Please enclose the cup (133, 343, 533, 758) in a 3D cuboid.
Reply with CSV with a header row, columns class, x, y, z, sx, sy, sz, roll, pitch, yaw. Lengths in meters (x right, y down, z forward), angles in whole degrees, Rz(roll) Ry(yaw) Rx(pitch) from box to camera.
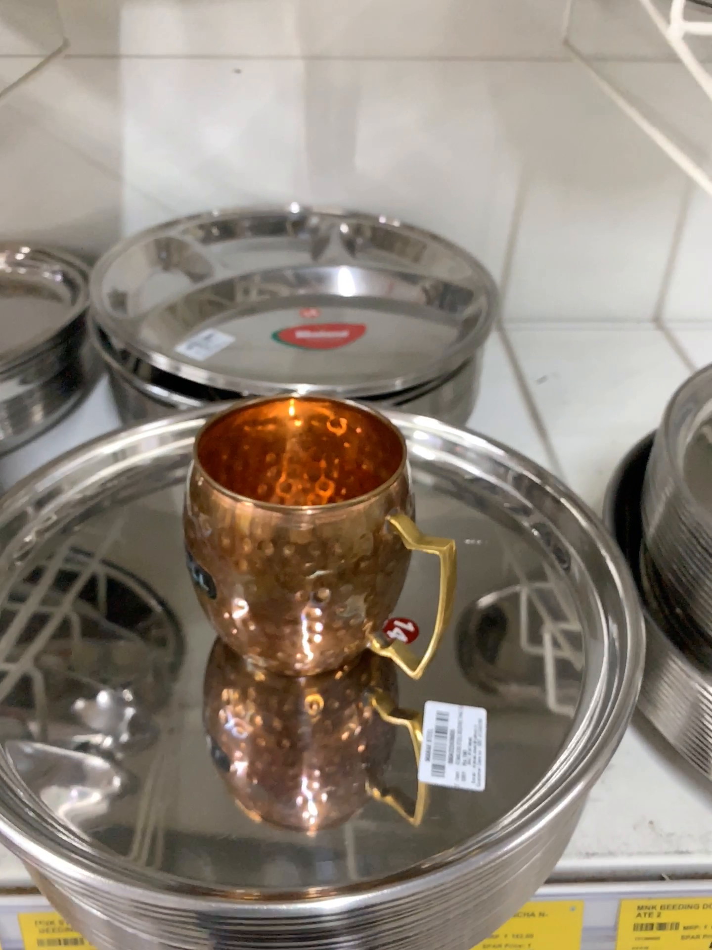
class,x,y,z,sx,sy,sz,roll,pitch,yaw
cup,-0.008,0.022,0.292,0.110,0.090,0.090,27,45,30
